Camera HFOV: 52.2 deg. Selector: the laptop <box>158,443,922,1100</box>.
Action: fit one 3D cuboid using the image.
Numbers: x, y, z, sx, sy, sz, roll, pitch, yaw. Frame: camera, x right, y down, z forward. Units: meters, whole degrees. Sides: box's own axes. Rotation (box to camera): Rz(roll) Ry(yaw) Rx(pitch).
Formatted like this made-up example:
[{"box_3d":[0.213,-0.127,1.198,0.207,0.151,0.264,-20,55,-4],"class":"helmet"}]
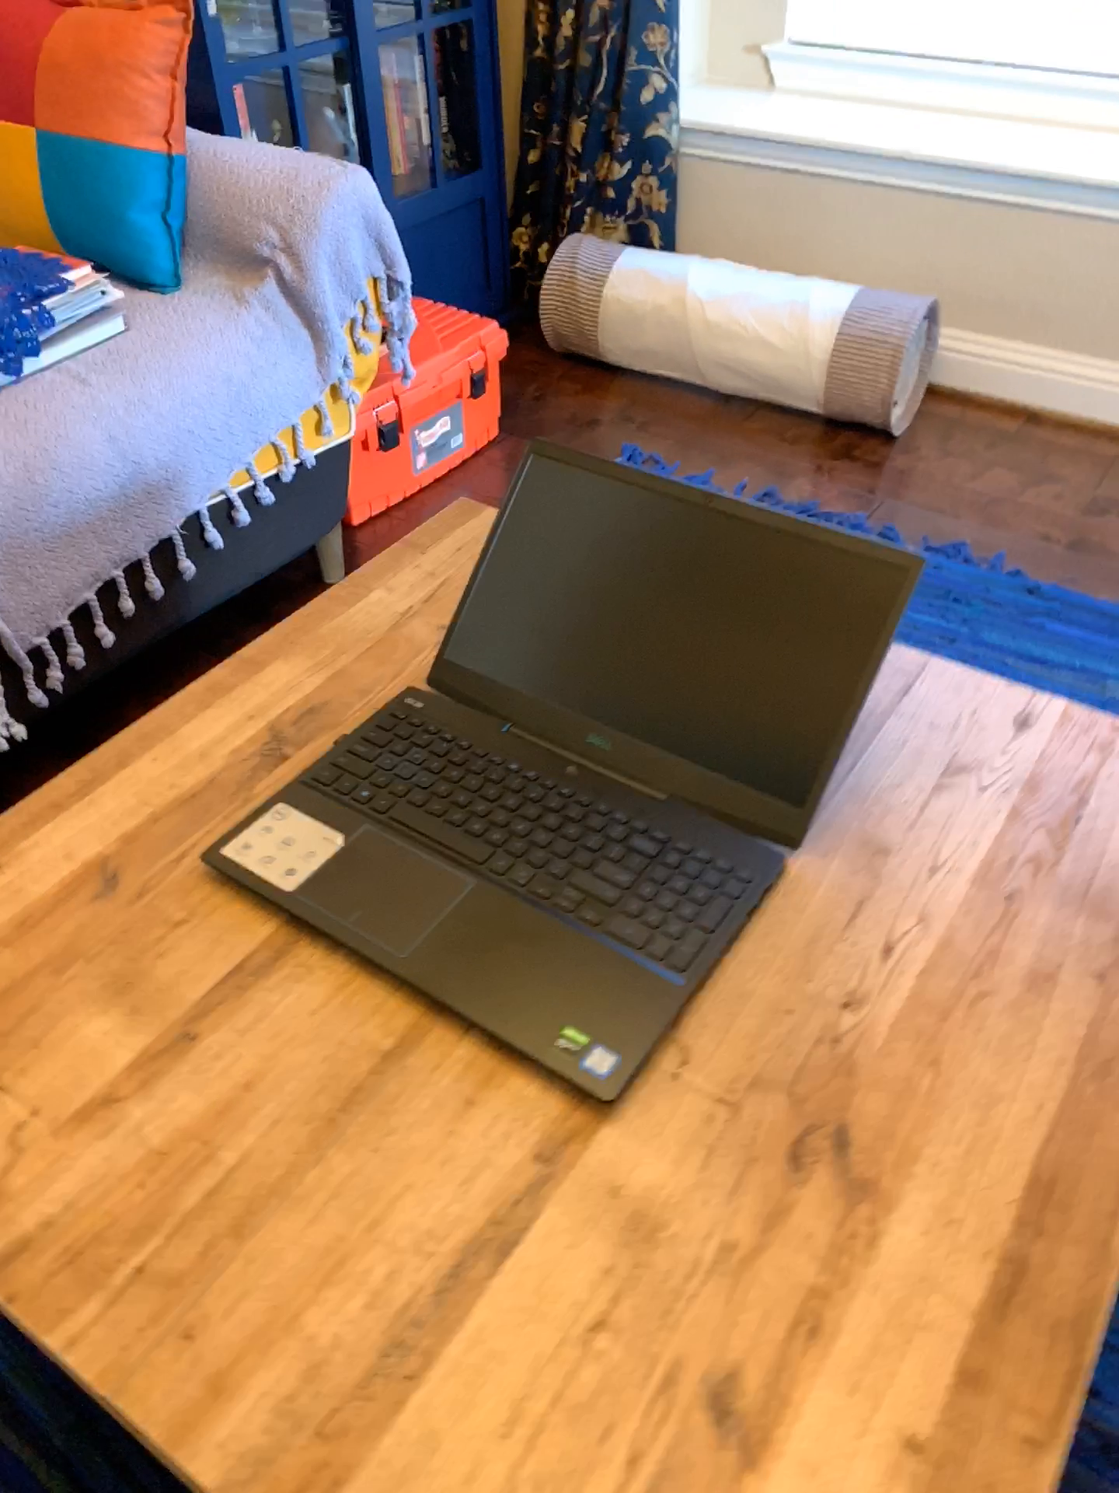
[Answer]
[{"box_3d":[0.005,-0.026,0.834,0.346,0.156,0.419,24,47,26],"class":"laptop"}]
